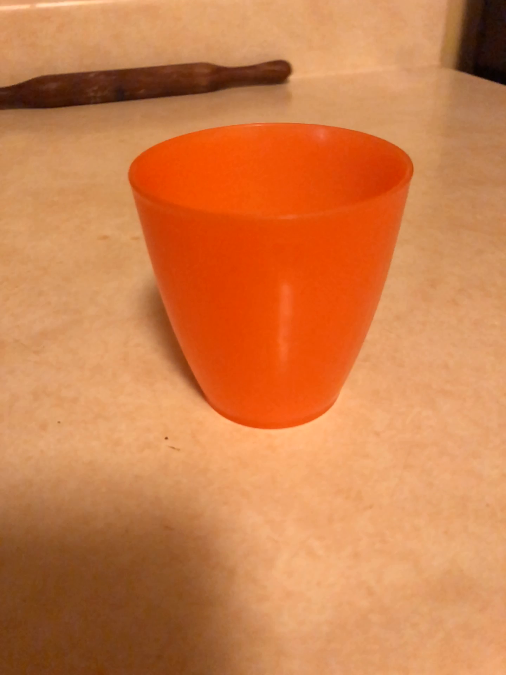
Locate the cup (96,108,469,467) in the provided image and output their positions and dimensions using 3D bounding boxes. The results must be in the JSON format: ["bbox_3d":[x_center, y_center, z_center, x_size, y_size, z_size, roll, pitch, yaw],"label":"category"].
[{"bbox_3d":[0.002,-0.023,0.177,0.080,0.070,0.080,-2,34,1],"label":"cup"}]
